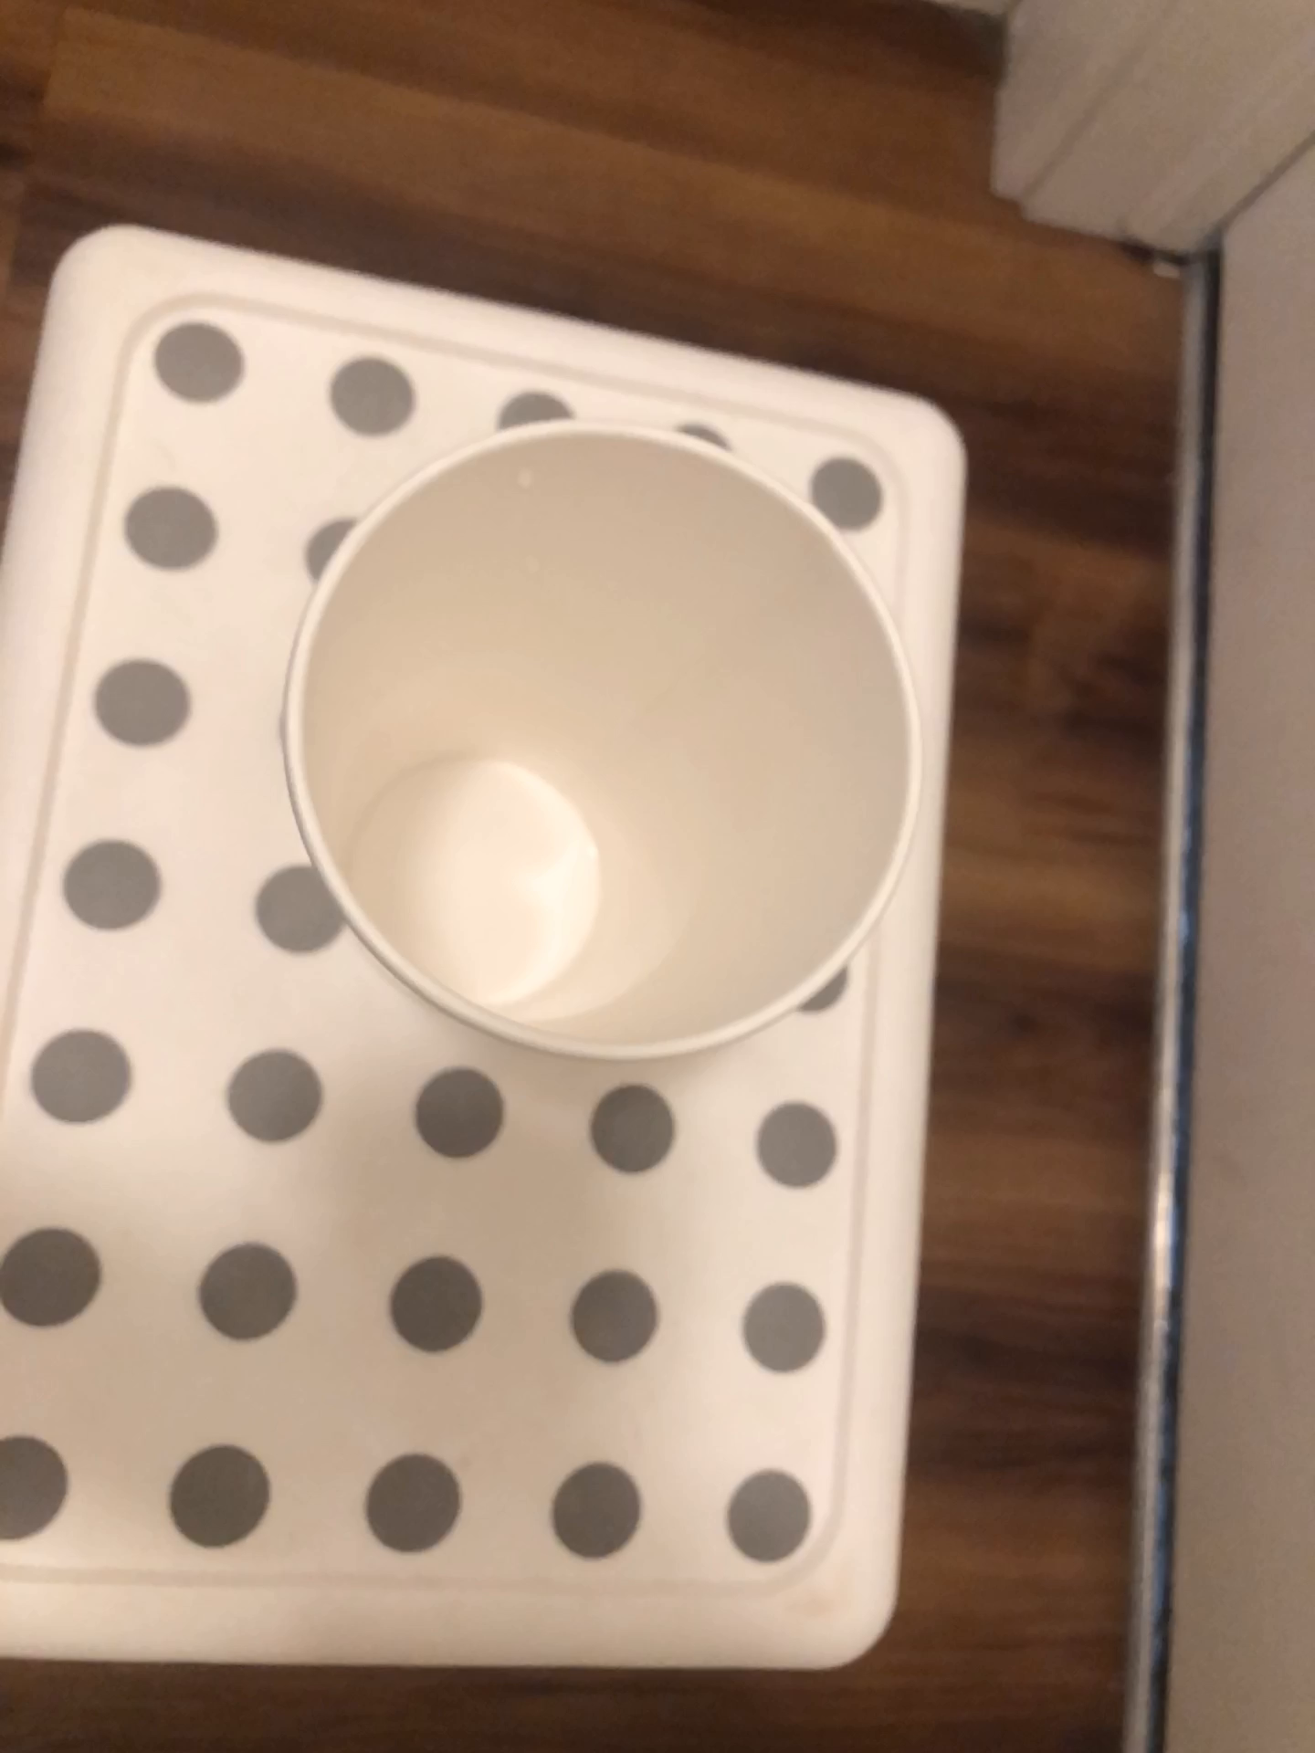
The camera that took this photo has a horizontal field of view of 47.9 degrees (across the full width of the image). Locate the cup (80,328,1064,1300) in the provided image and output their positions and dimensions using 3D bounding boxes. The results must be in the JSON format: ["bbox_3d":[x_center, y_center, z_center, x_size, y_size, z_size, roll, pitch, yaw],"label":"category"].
[{"bbox_3d":[-0.025,-0.002,0.276,0.099,0.155,0.100,2,81,-13],"label":"cup"}]
